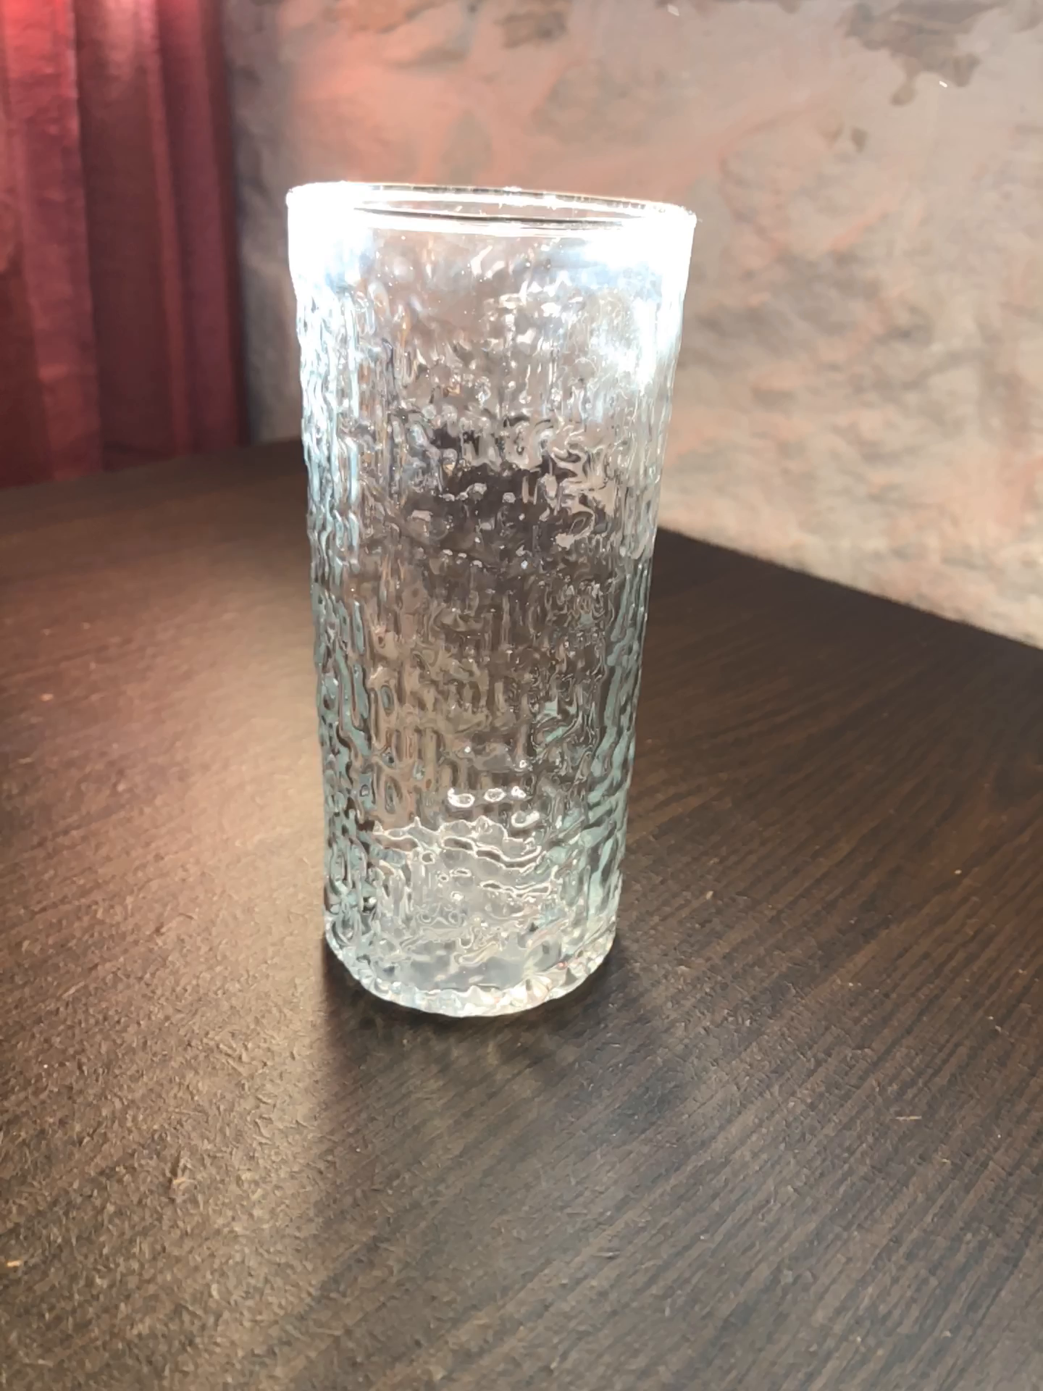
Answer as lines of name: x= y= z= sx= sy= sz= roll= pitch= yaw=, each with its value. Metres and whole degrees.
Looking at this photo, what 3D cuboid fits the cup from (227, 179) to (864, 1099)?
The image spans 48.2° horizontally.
cup: x=-0.002 y=-0.015 z=0.204 sx=0.068 sy=0.130 sz=0.070 roll=4 pitch=24 yaw=-2
